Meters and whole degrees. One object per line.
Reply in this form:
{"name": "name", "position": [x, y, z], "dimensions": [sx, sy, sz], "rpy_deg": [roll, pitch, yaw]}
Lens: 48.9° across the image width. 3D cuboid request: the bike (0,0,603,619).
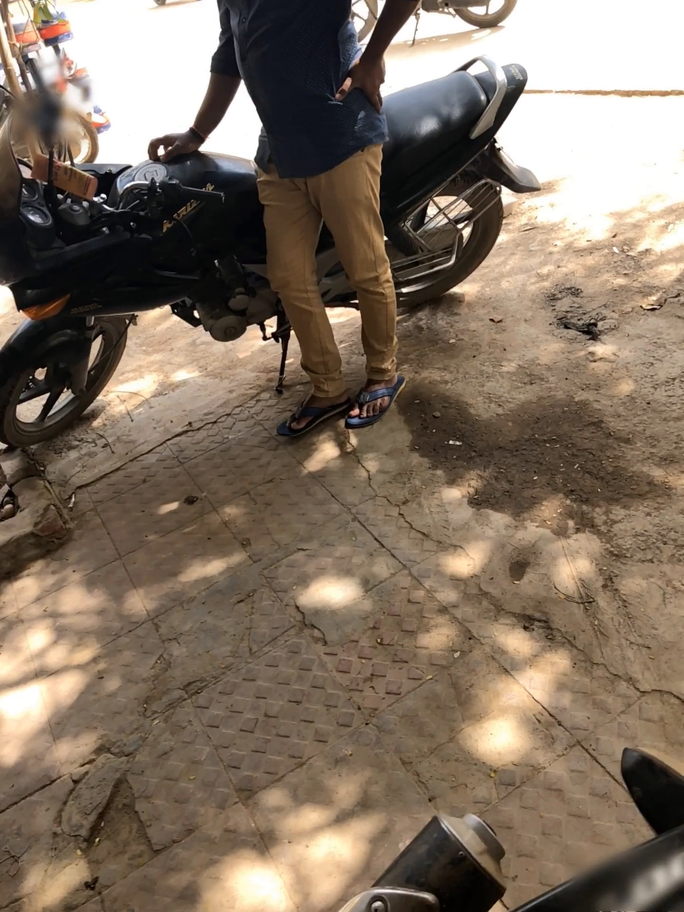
{"name": "bike", "position": [-0.274, -0.596, 2.144], "dimensions": [1.893, 1.178, 0.800], "rpy_deg": [-23, 38, -11]}
